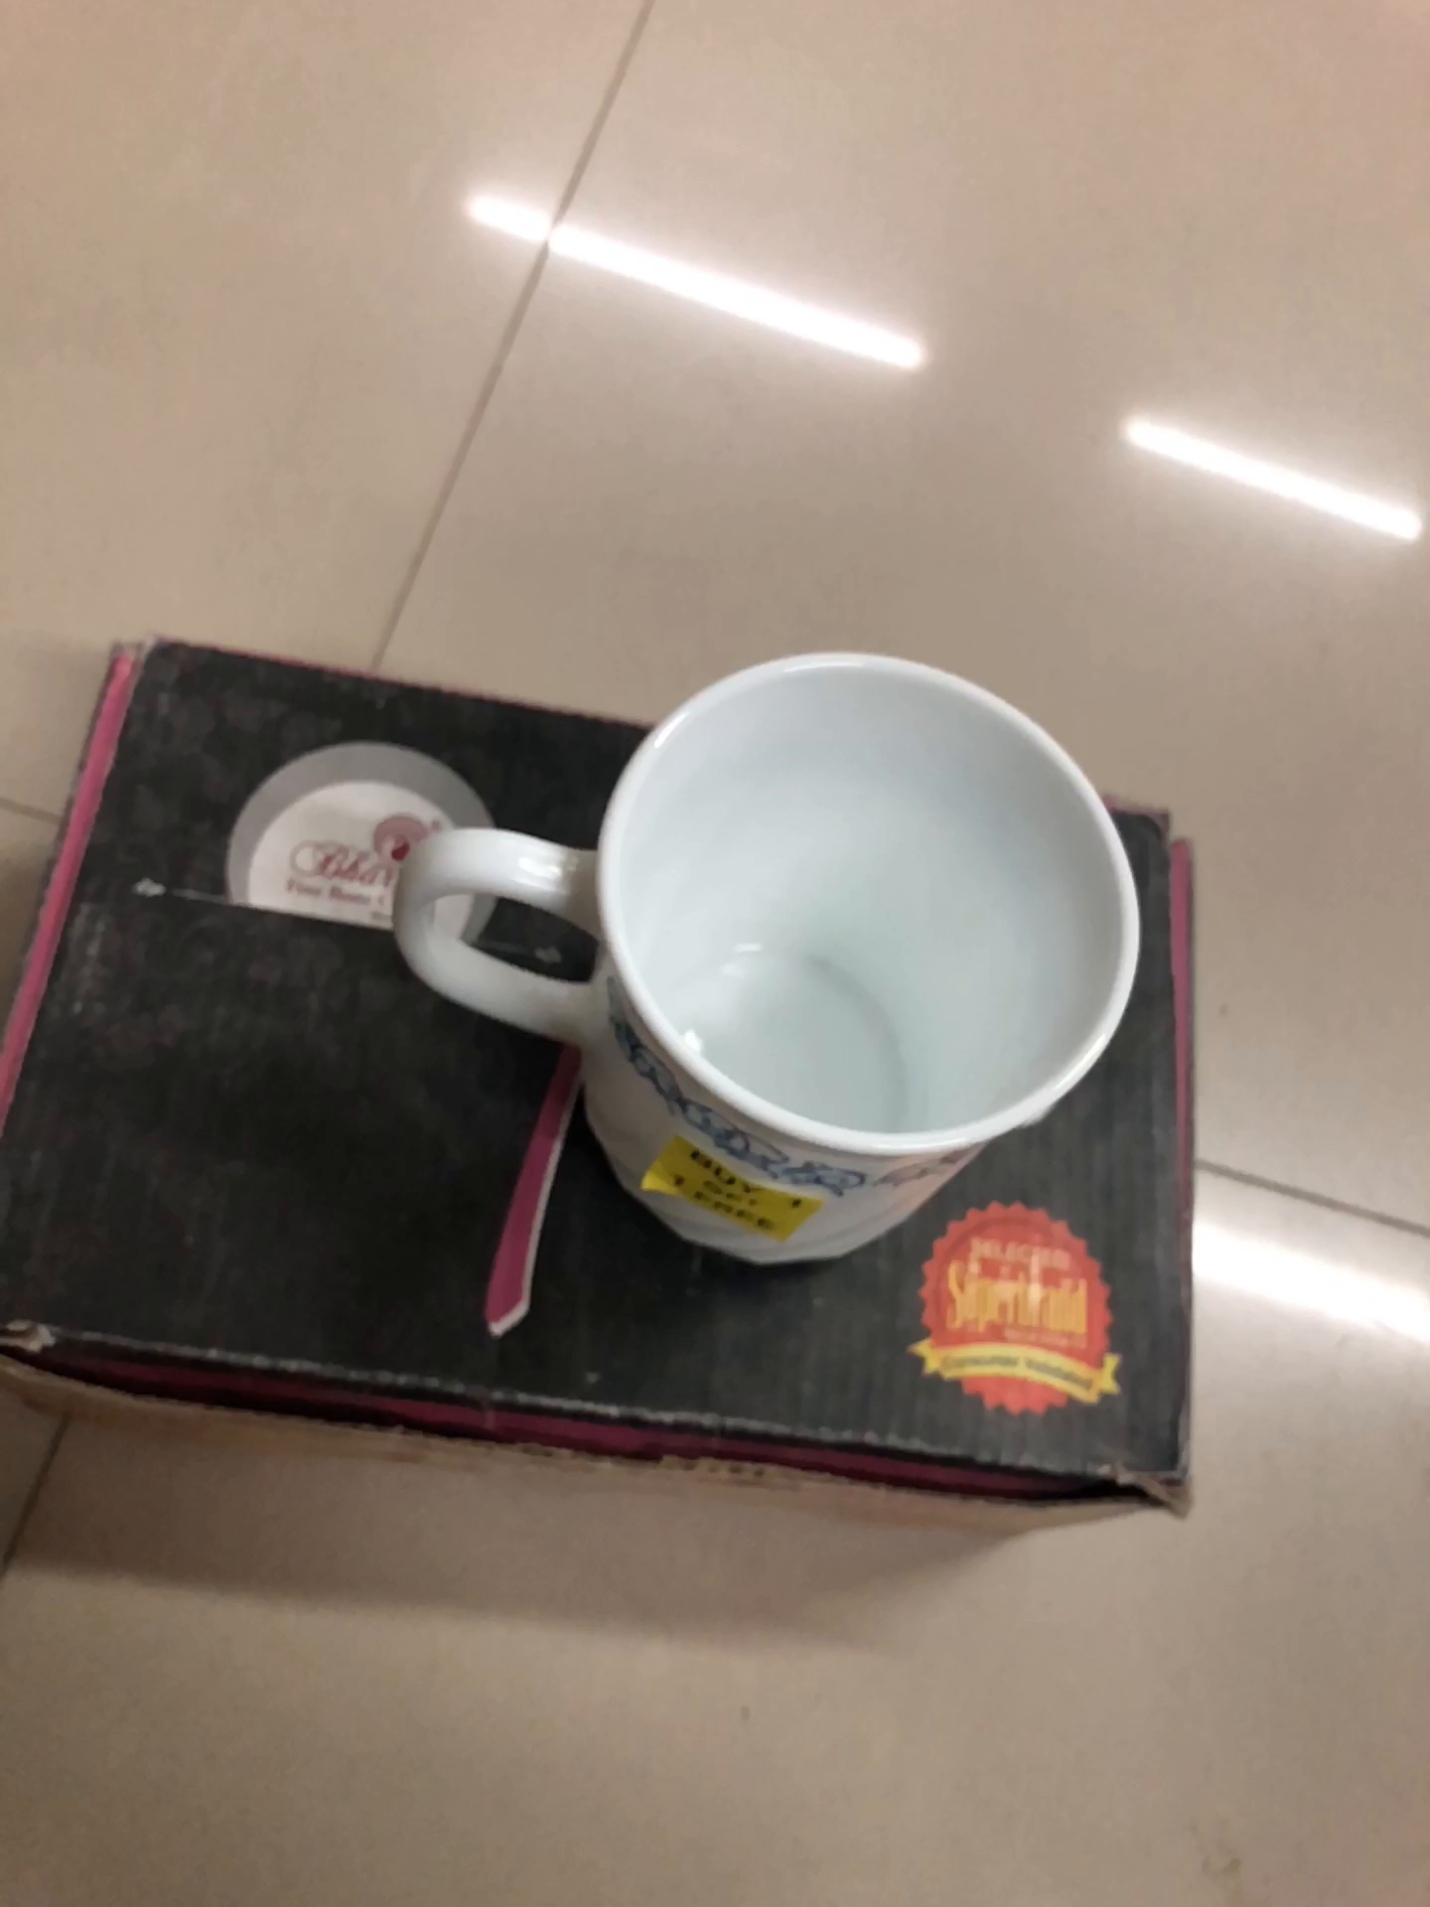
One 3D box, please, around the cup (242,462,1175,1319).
[{"bbox_3d":[-0.001,-0.003,0.266,0.120,0.090,0.090,12,66,-5],"label":"cup"}]
